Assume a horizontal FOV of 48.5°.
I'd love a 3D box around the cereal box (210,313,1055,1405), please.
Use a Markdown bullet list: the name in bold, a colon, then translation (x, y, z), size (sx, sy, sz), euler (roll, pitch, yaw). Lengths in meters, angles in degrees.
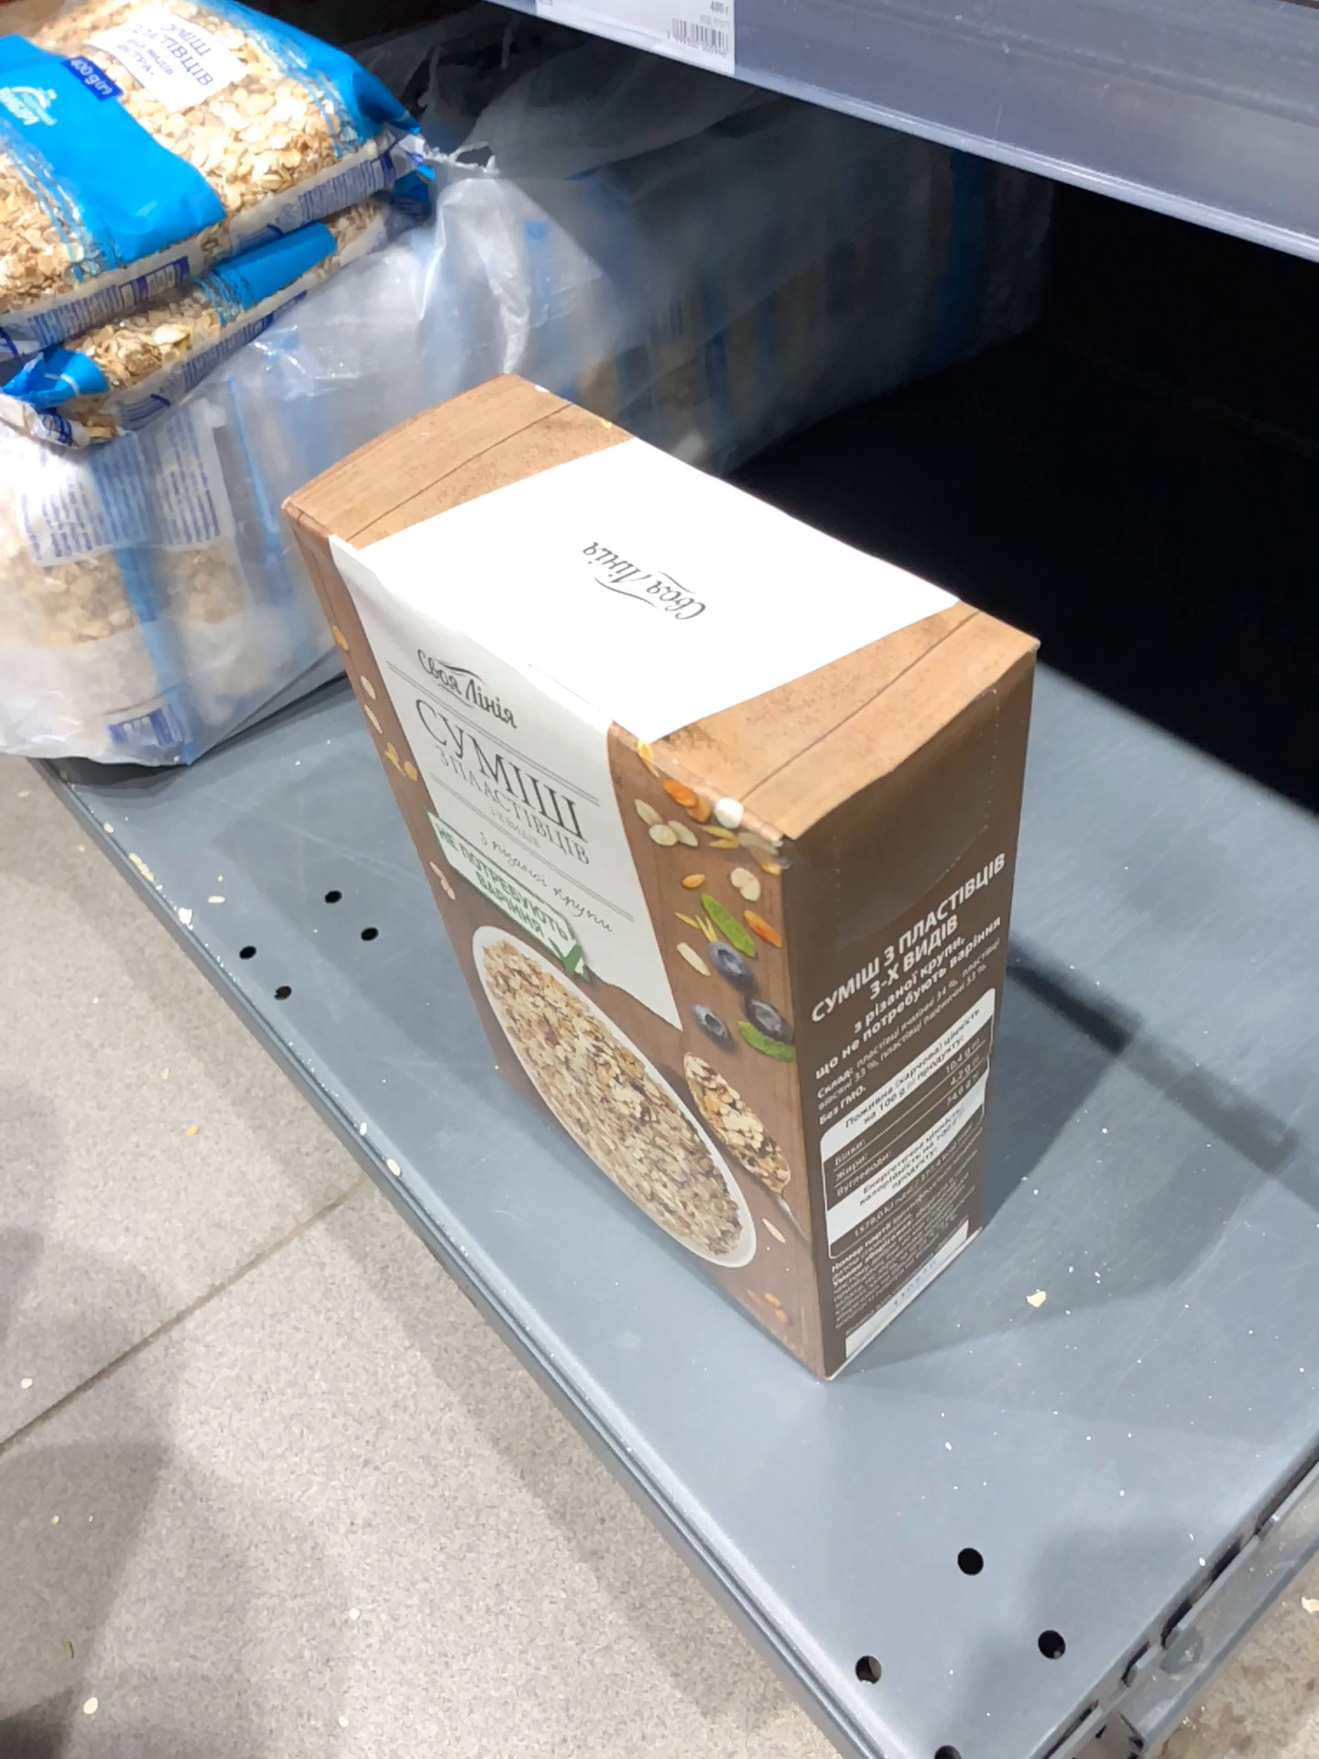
- **cereal box**: translation (-0.001, 0.004, 0.337), size (0.060, 0.208, 0.161), euler (-38, 54, -22)
